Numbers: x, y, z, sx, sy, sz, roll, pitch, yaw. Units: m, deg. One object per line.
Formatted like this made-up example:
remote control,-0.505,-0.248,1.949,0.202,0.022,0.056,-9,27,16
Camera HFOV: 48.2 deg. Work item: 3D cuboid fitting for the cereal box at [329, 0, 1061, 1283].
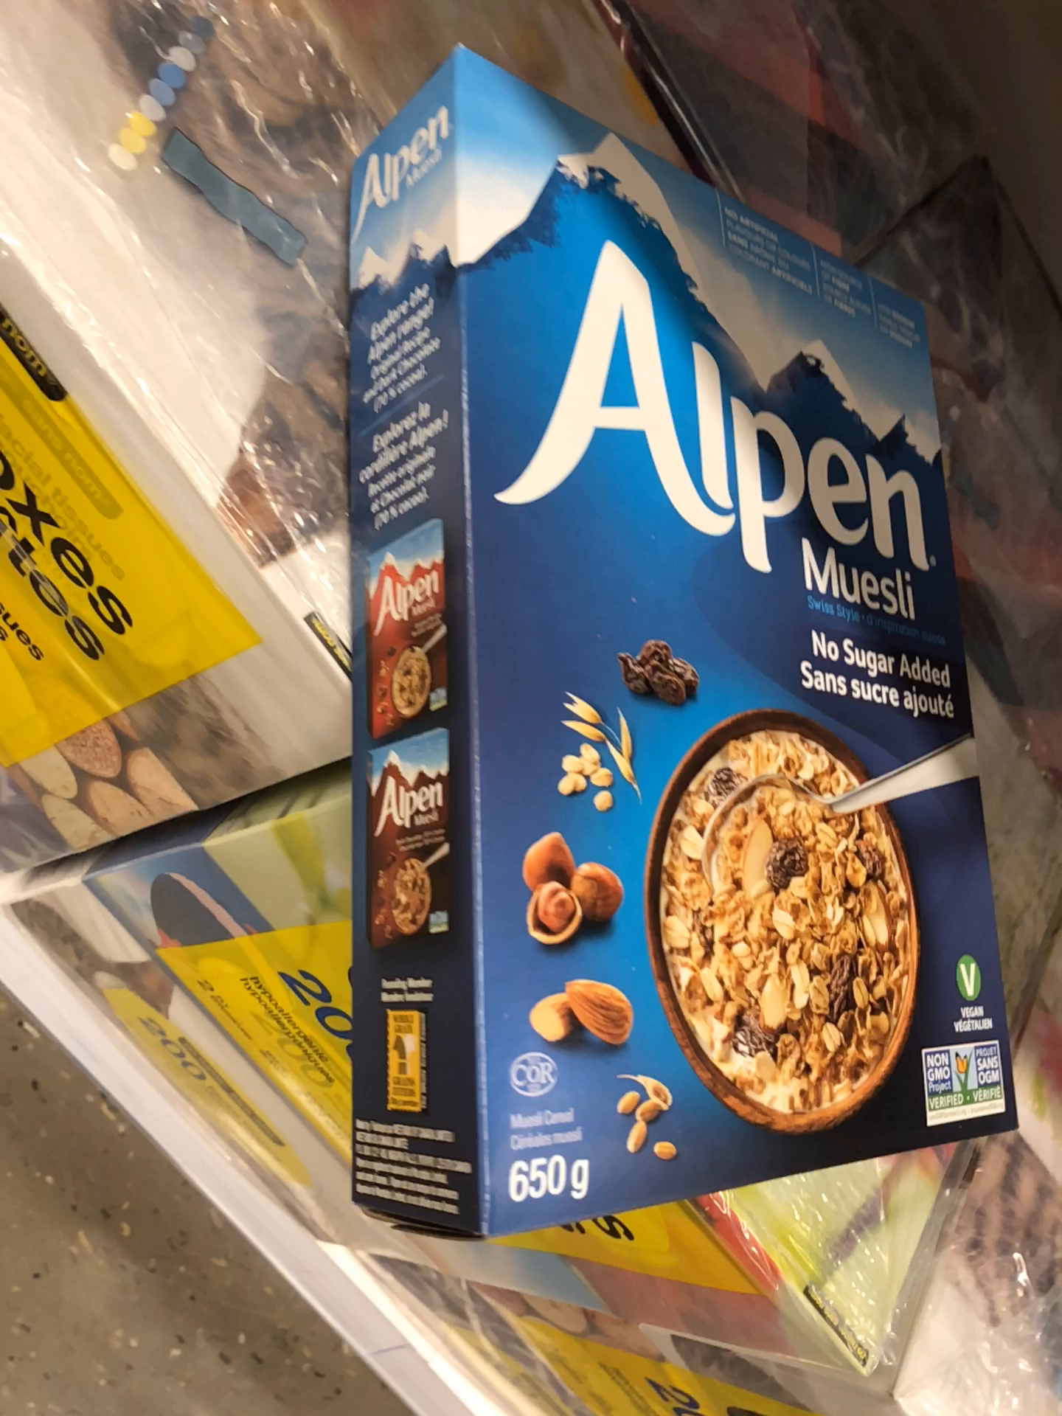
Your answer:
cereal box,0.046,-0.024,0.298,0.191,0.050,0.270,8,75,-38
